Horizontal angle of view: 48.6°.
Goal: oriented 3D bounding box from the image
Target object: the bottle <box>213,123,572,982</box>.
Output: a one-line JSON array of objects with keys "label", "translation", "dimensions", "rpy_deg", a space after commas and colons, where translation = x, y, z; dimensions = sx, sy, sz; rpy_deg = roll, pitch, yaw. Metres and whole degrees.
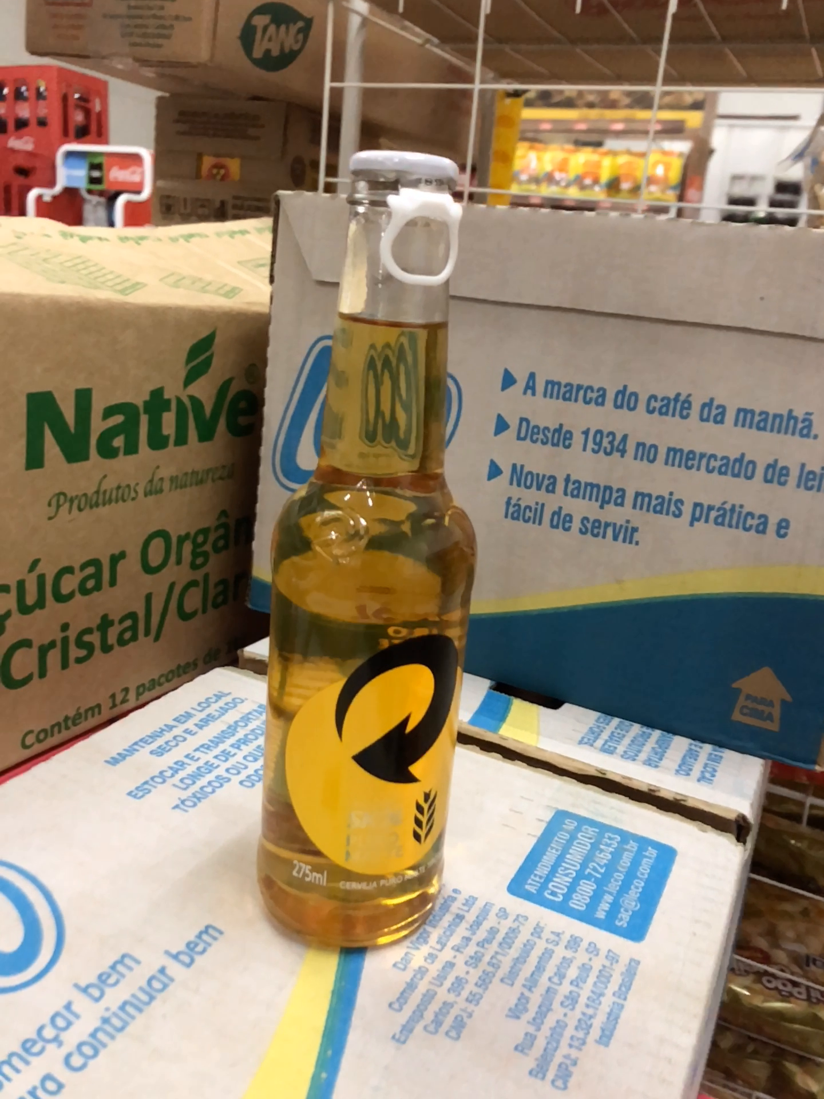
[{"label": "bottle", "translation": [-0.012, 0.002, 0.253], "dimensions": [0.060, 0.209, 0.060], "rpy_deg": [5, 16, -1]}]
